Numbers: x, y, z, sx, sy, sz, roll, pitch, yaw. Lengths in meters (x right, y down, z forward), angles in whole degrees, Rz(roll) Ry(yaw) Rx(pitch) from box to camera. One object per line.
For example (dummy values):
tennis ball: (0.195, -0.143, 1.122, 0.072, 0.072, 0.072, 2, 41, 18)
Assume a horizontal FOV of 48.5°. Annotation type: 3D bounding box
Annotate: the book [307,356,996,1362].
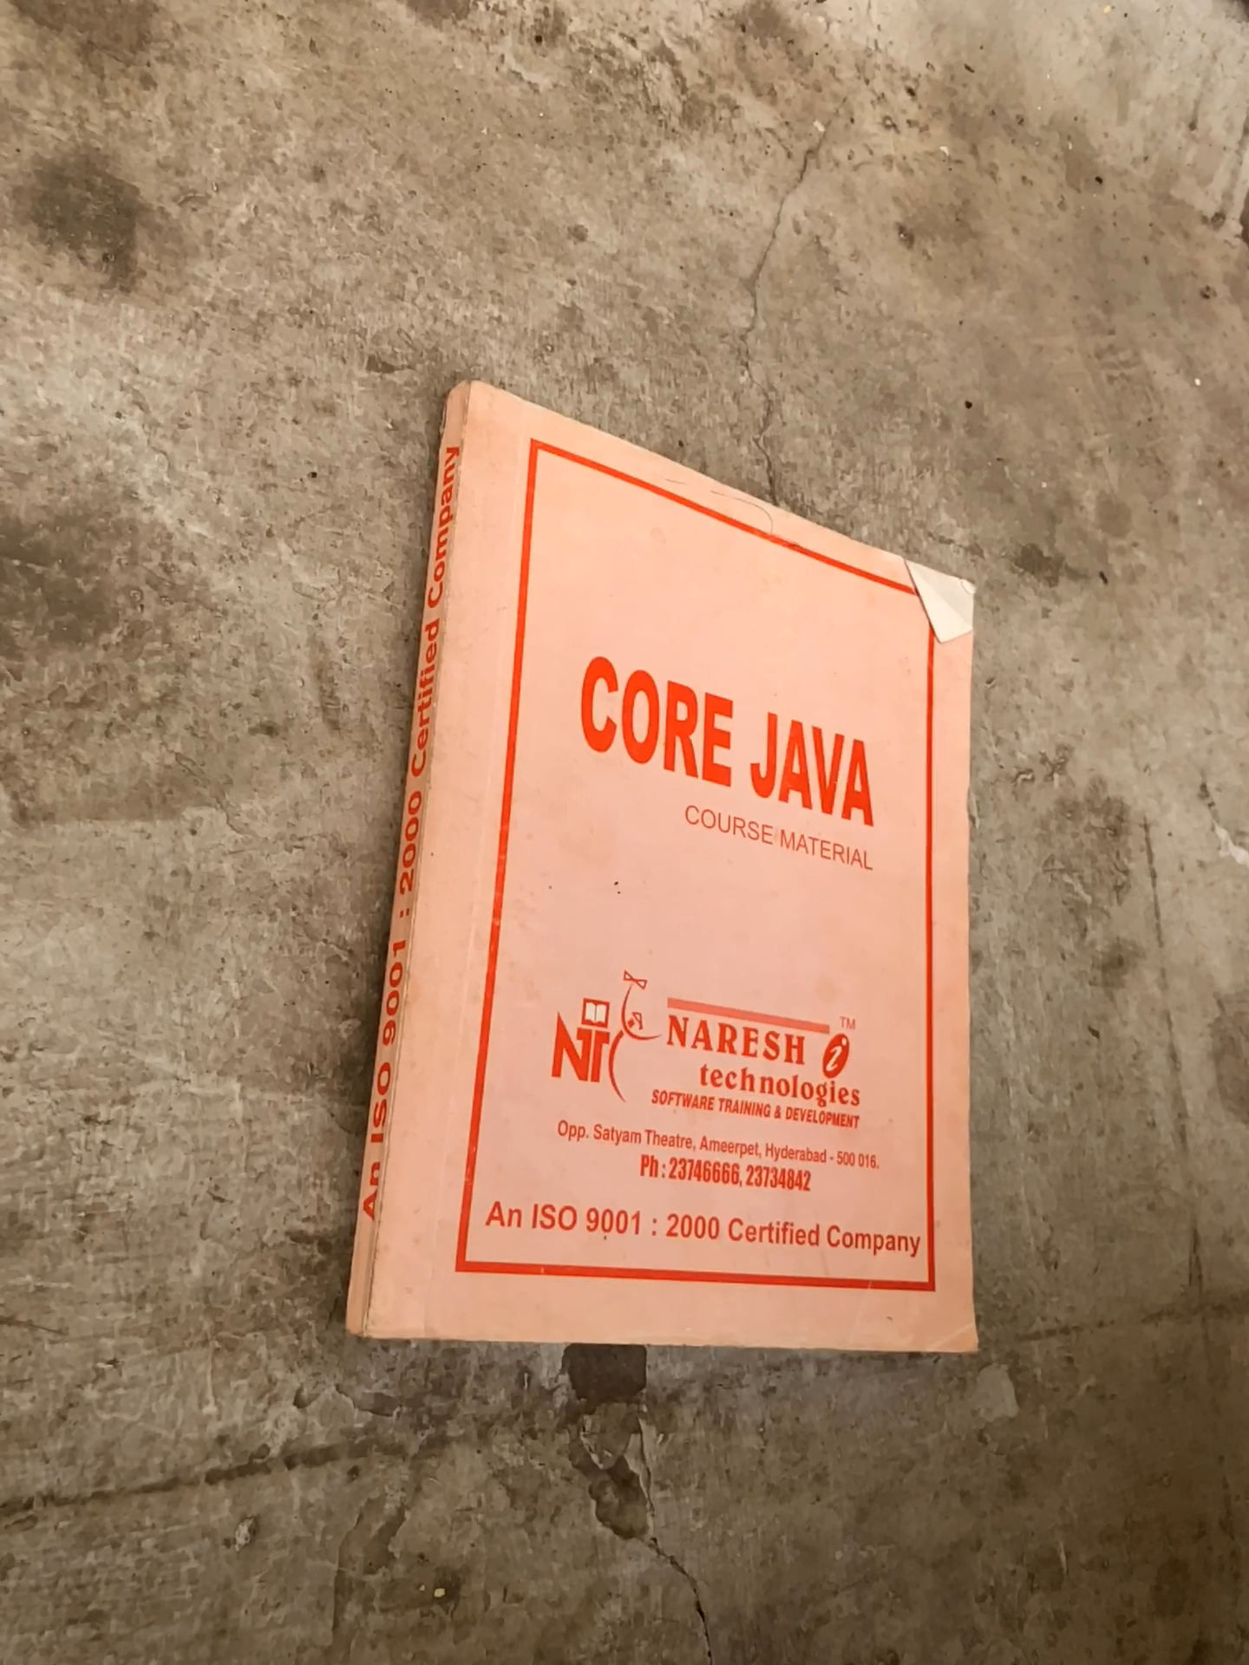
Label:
book: (0.022, 0.015, 0.408, 0.201, 0.030, 0.260, 12, 71, -30)
